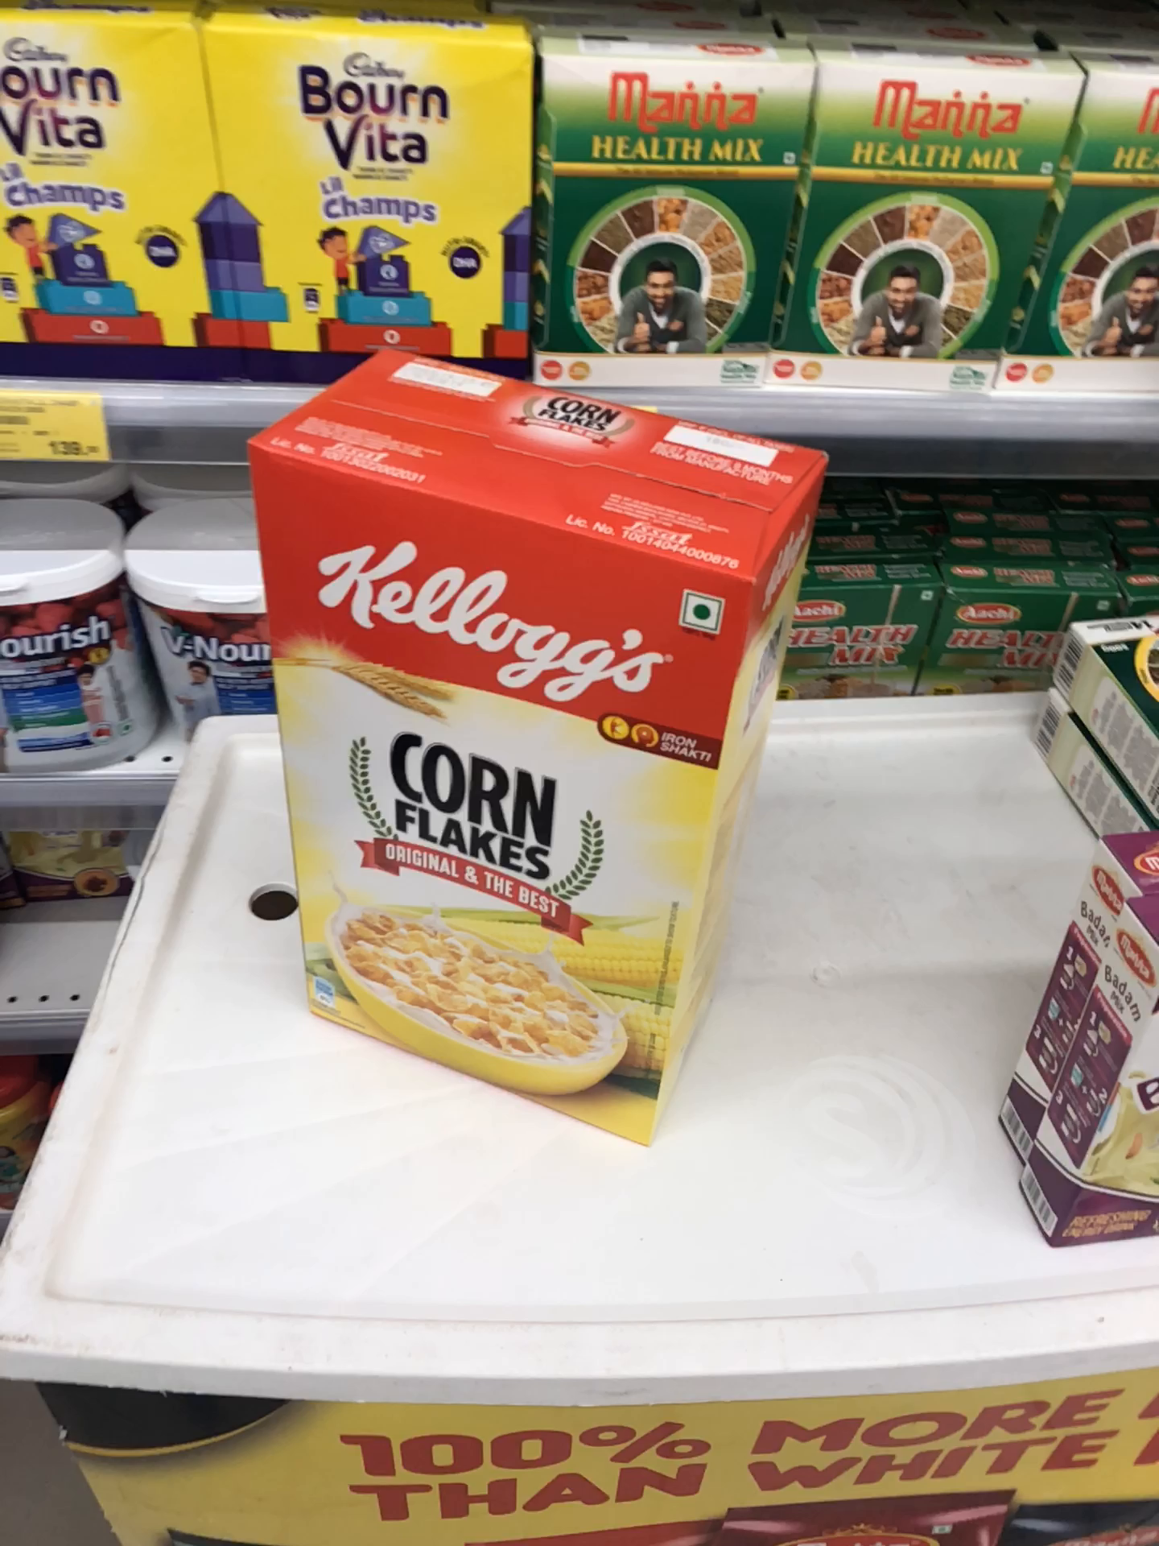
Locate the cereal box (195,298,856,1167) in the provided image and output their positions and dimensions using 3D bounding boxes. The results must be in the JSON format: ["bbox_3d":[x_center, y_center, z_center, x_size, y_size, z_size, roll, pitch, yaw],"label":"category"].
[{"bbox_3d":[-0.022,-0.003,0.550,0.200,0.329,0.110,18,44,17],"label":"cereal box"}]
